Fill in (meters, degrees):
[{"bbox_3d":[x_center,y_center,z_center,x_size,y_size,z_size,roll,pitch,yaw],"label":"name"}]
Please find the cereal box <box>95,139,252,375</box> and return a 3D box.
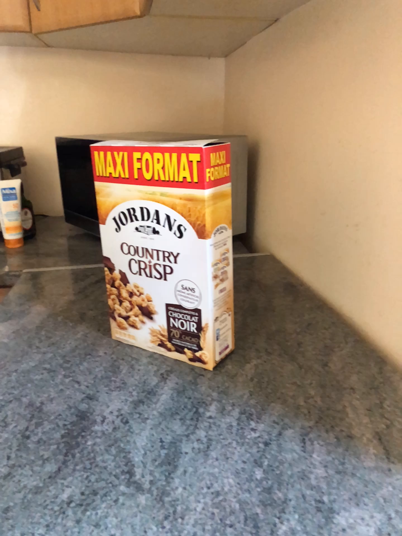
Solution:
[{"bbox_3d":[-0.035,-0.023,0.622,0.200,0.299,0.070,10,22,33],"label":"cereal box"}]
